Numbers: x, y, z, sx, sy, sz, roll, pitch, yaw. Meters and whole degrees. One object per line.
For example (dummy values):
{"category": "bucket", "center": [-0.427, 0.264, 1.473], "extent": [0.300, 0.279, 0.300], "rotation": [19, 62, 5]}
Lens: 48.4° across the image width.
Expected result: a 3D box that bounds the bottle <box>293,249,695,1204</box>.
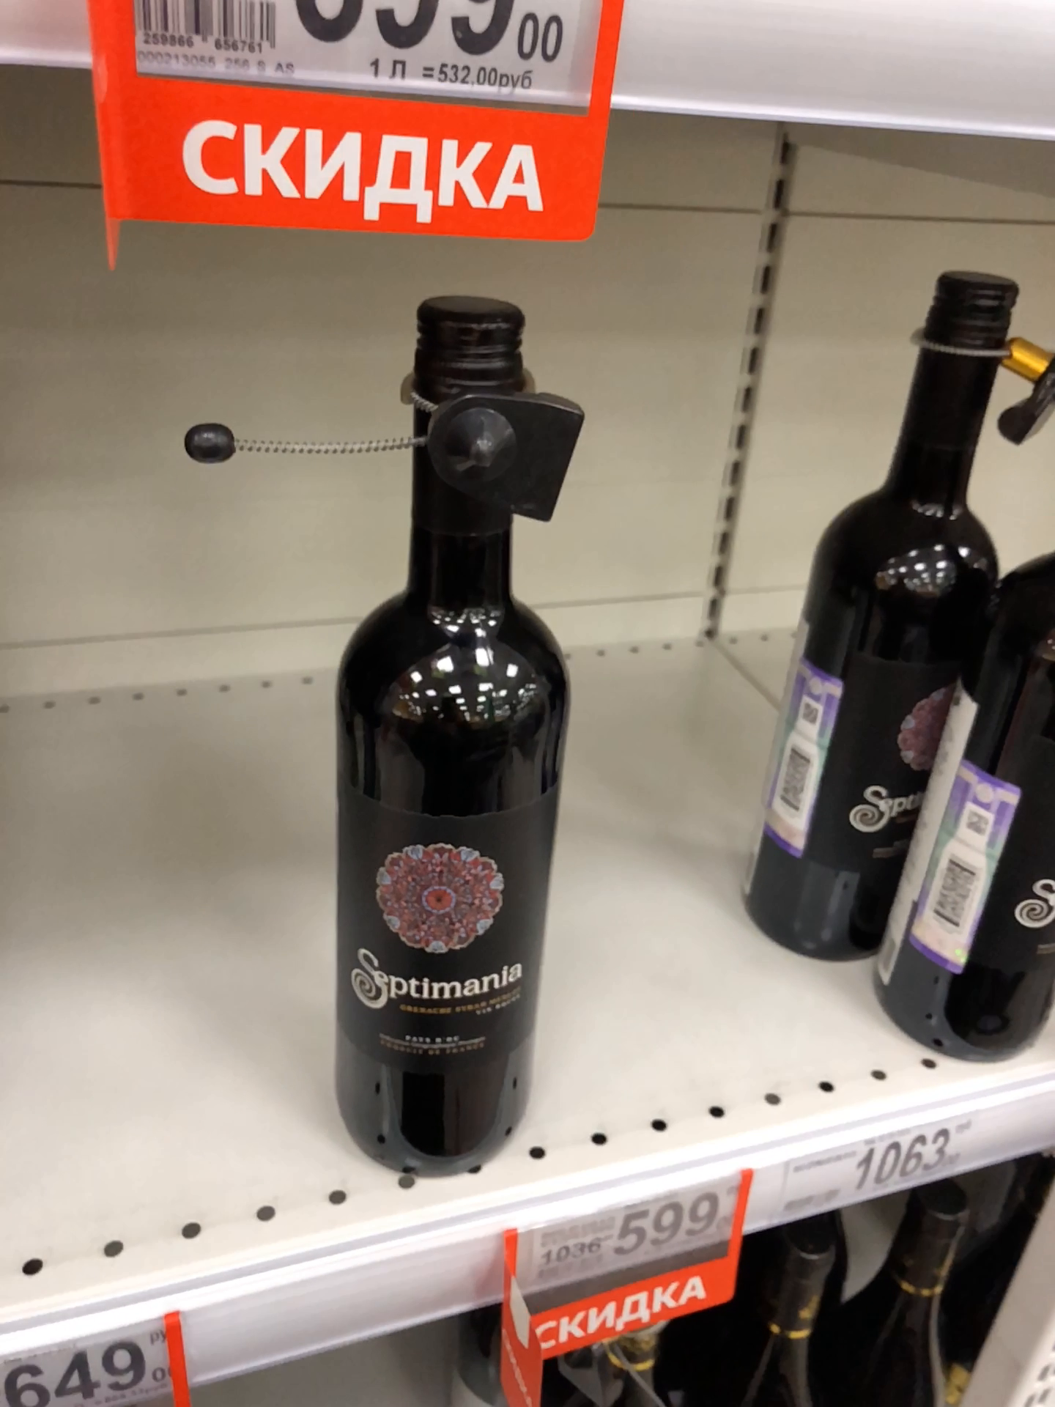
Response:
{"category": "bottle", "center": [-0.024, 0.019, 0.373], "extent": [0.090, 0.290, 0.091], "rotation": [4, 29, -2]}
